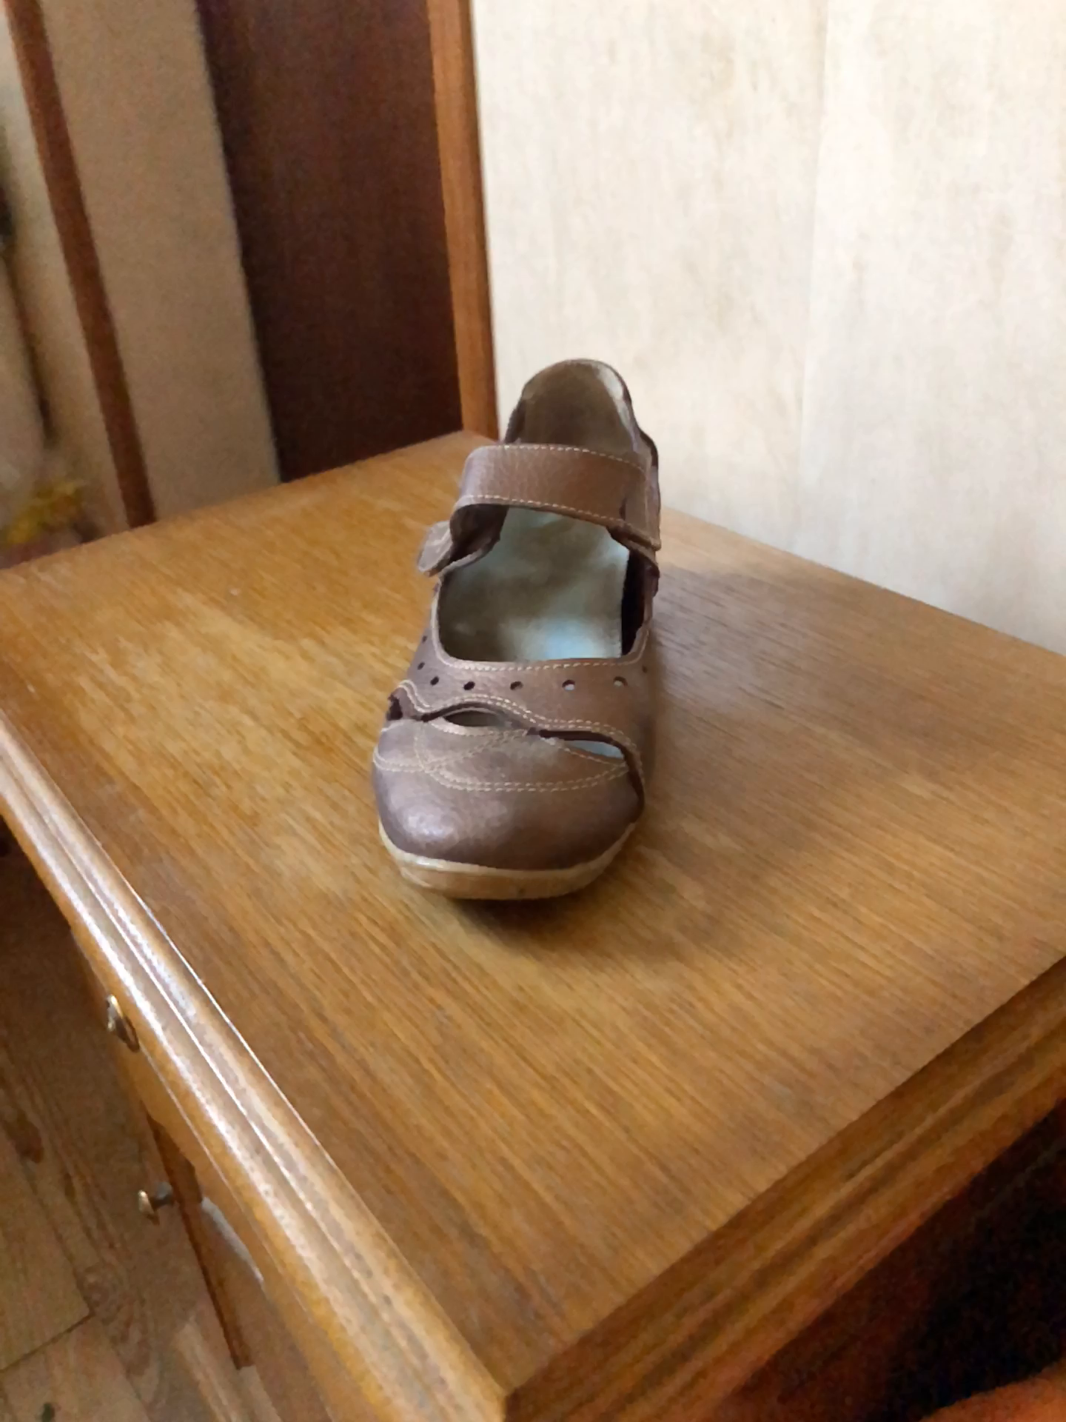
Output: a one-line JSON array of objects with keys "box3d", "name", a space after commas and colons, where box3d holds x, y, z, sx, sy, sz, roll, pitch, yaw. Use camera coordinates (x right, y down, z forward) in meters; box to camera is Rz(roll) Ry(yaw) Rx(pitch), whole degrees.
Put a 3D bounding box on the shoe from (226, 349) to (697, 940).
[{"box3d": [-0.001, -0.047, 0.412, 0.100, 0.089, 0.262, 2, 32, 10], "name": "shoe"}]
